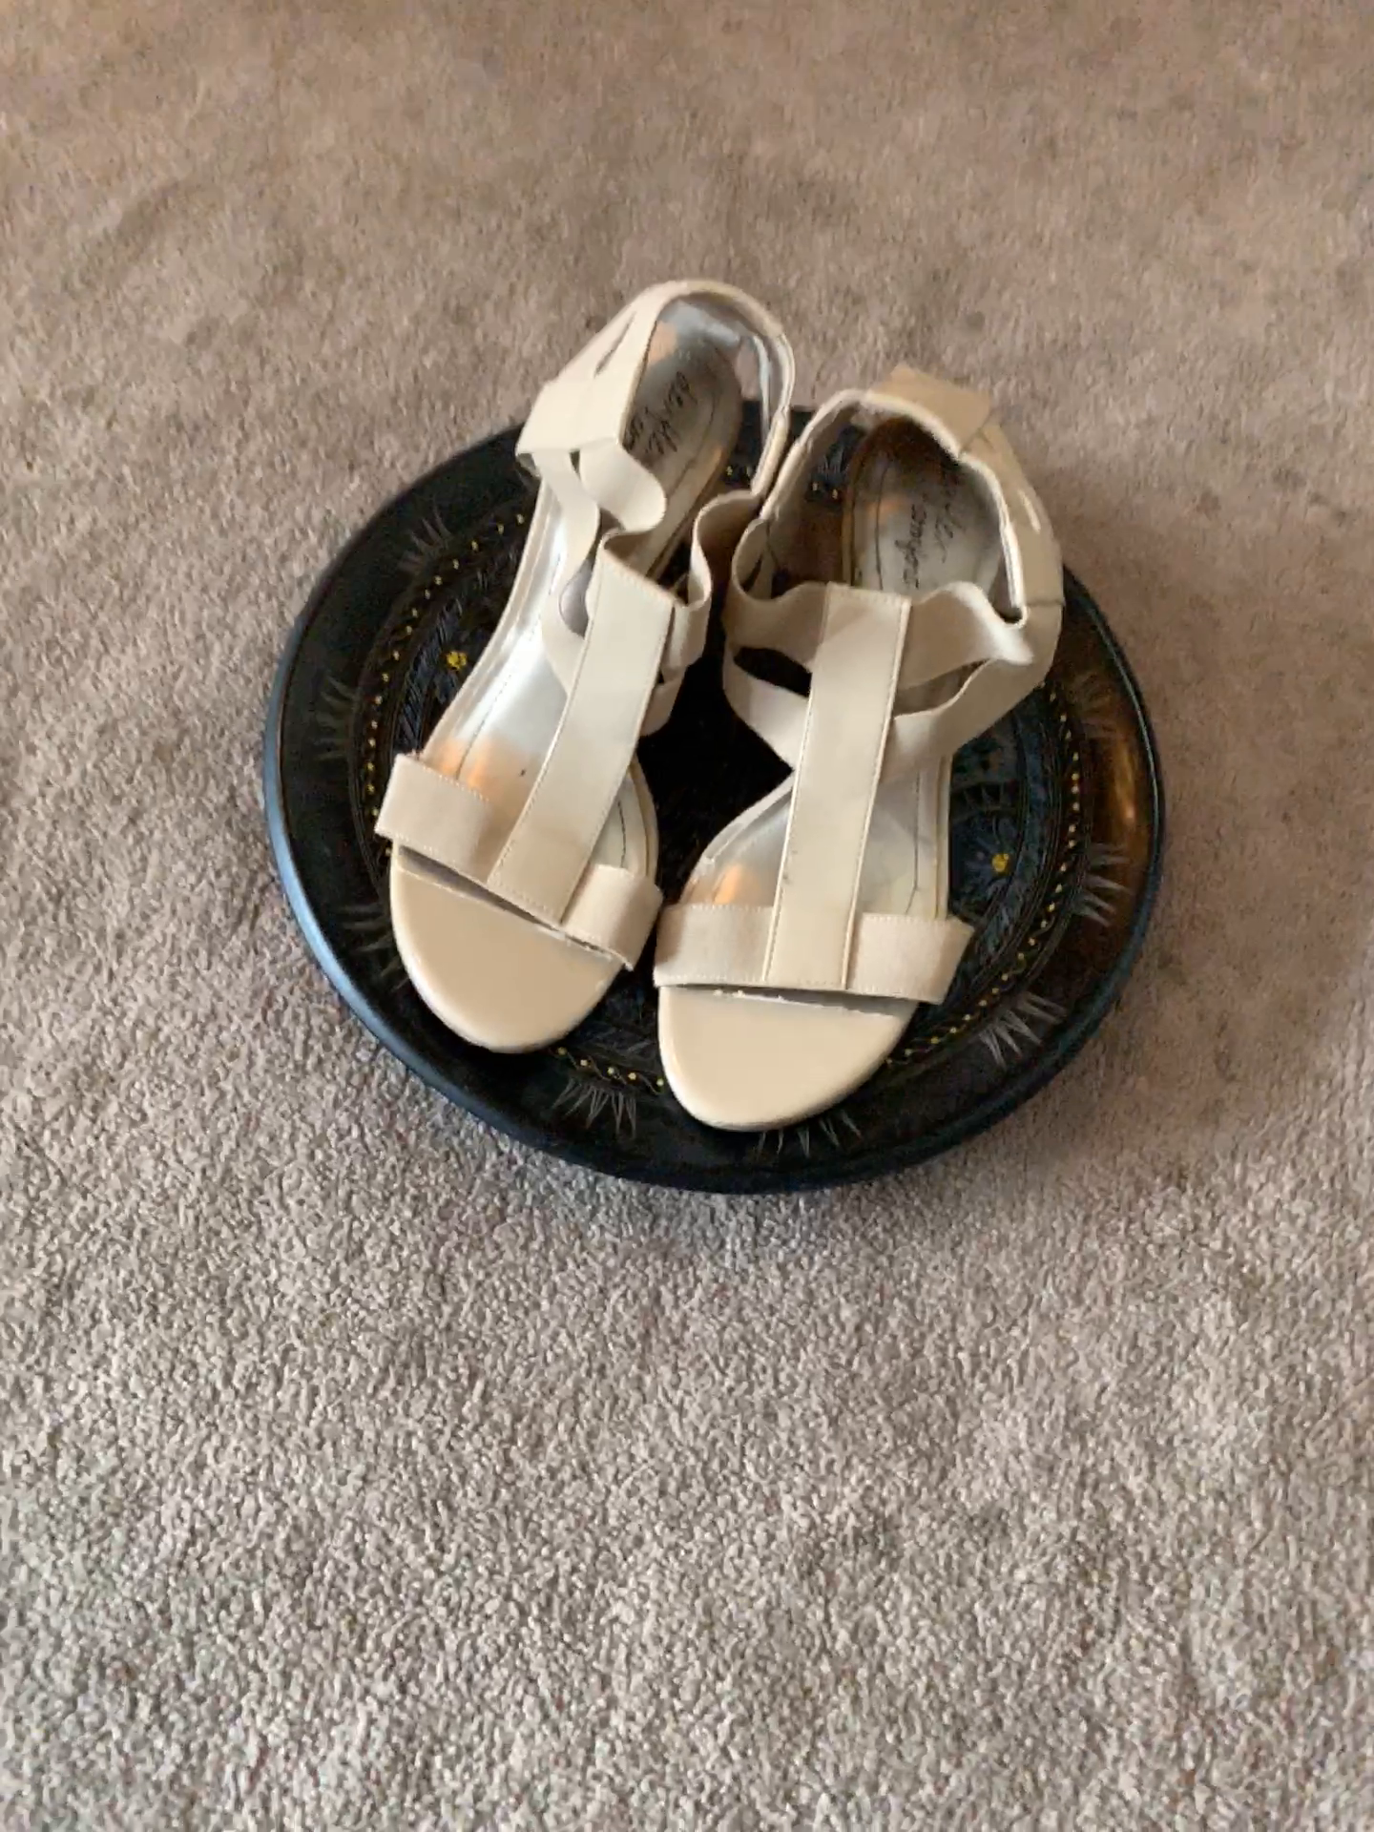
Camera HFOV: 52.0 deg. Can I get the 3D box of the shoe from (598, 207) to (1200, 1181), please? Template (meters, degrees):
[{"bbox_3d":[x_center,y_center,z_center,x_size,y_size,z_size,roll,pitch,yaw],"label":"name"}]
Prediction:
[{"bbox_3d":[0.056,-0.060,0.374,0.100,0.099,0.221,15,65,1],"label":"shoe"}]

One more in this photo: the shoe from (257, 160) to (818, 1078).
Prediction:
[{"bbox_3d":[-0.032,-0.082,0.390,0.090,0.099,0.221,12,65,-1],"label":"shoe"}]
